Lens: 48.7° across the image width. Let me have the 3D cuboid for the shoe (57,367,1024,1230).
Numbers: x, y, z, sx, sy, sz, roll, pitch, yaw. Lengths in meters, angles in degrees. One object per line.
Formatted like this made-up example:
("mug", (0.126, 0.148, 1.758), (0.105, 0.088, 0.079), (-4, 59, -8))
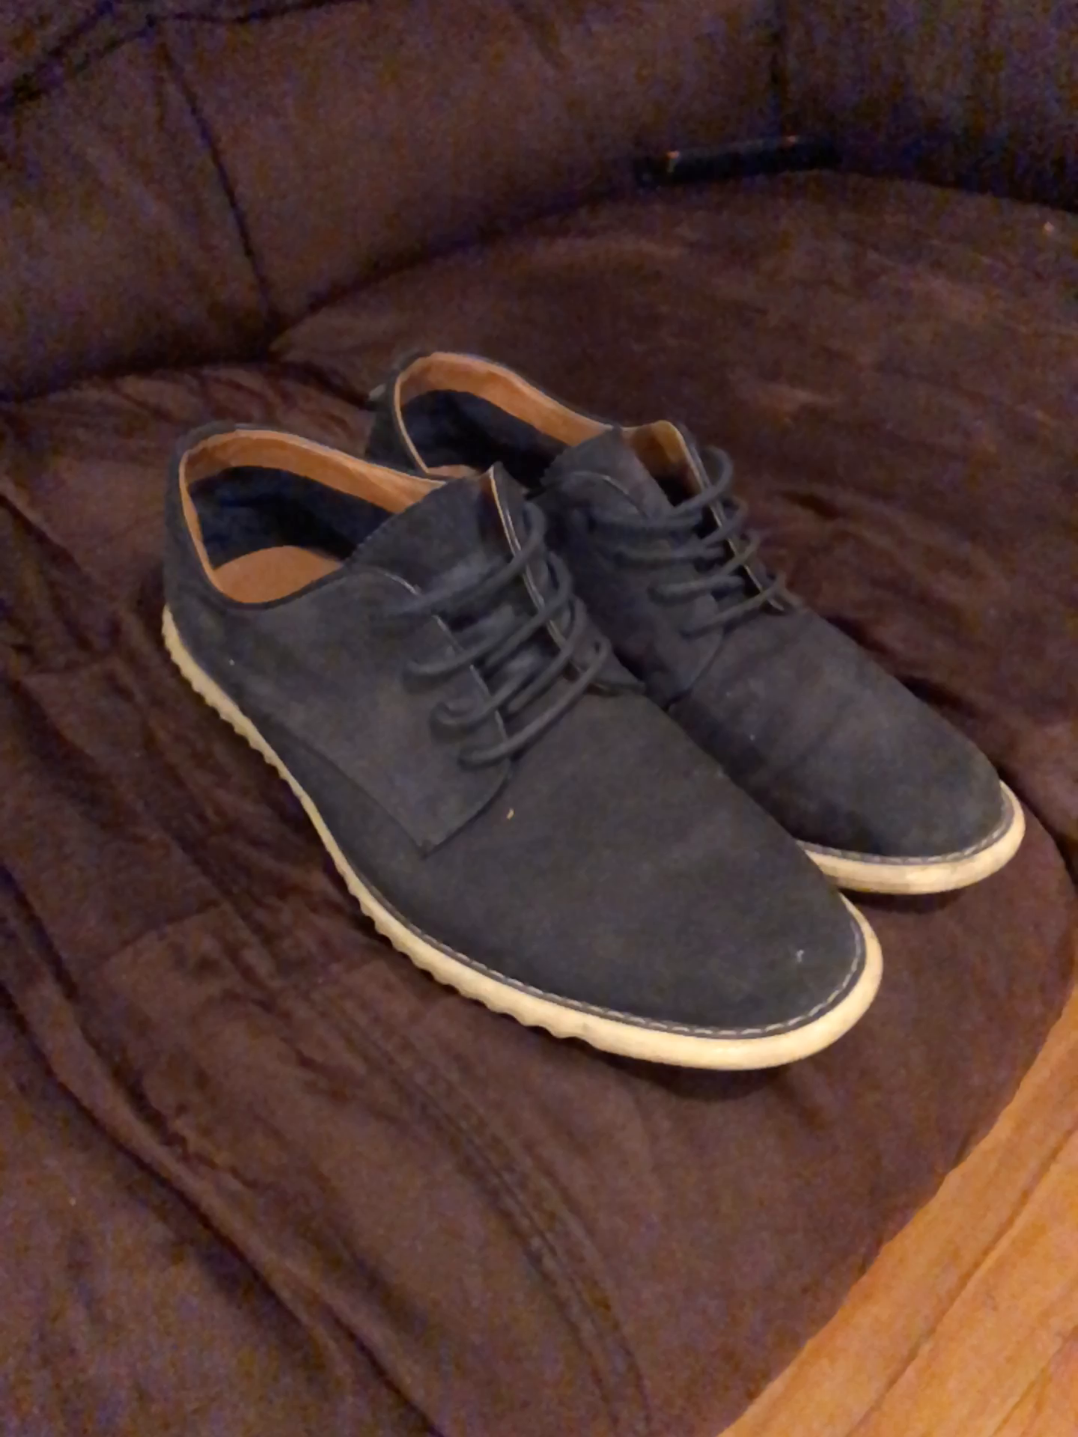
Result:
("shoe", (-0.019, -0.002, 0.388), (0.121, 0.099, 0.291), (-32, 51, -32))

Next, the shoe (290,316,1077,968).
("shoe", (0.052, -0.050, 0.440), (0.291, 0.079, 0.121), (32, 50, 30))
